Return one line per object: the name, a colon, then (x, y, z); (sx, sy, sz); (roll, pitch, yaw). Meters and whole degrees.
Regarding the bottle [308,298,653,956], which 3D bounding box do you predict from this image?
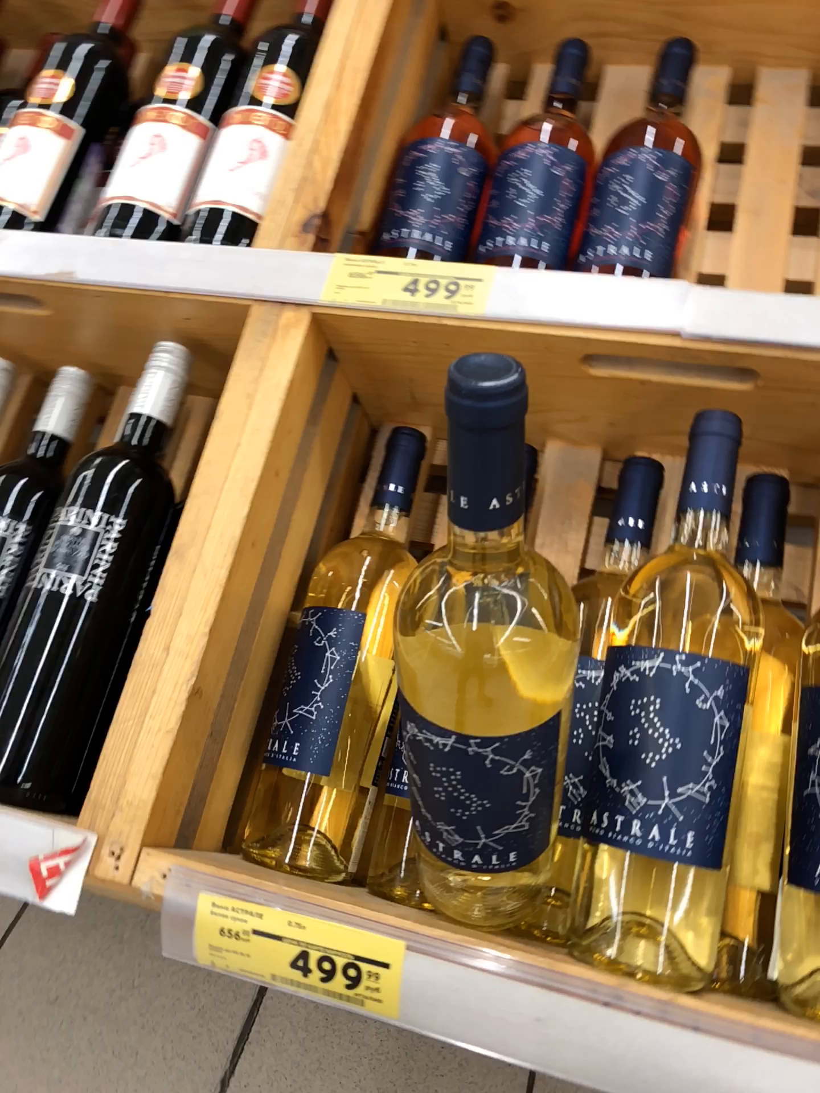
bottle: (0.030, 0.049, 0.383); (0.090, 0.278, 0.080); (15, 41, 21)
